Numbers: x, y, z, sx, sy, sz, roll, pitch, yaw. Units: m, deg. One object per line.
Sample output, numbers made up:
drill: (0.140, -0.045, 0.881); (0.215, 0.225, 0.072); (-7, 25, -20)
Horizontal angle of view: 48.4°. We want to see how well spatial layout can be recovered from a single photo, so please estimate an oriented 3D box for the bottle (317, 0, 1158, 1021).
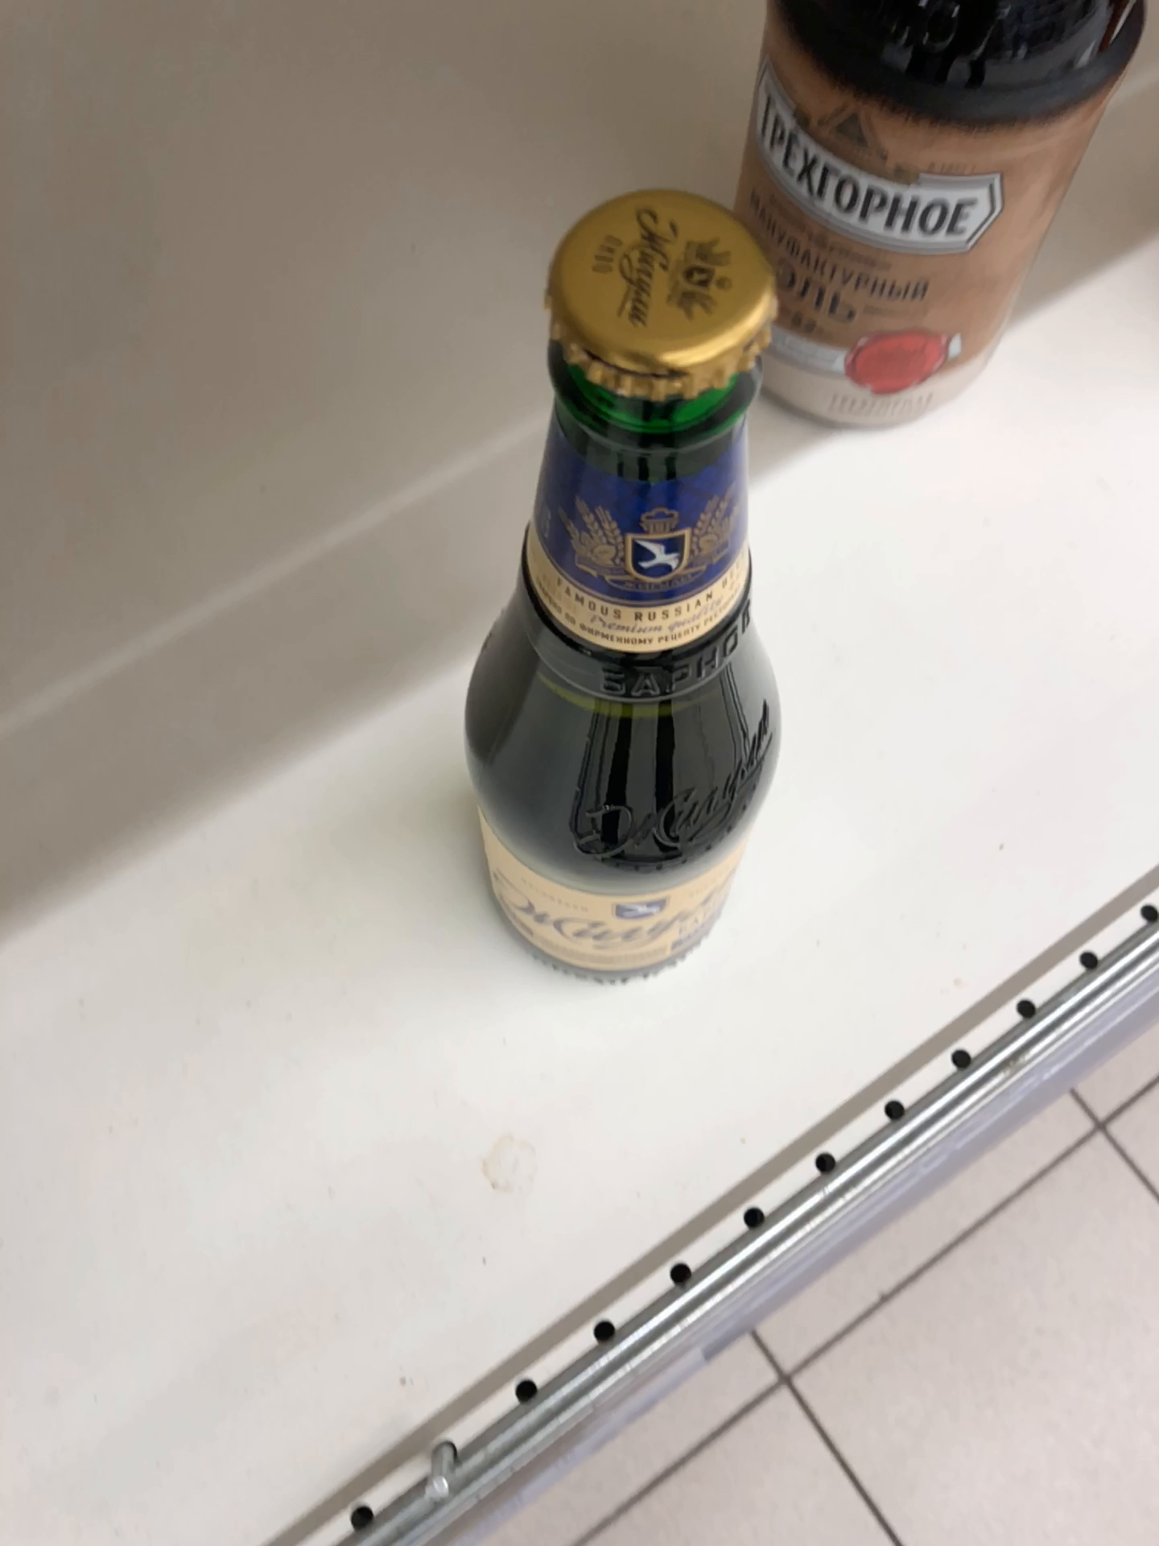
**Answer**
bottle: (0.017, -0.017, 0.273); (0.090, 0.249, 0.080); (-10, 70, -4)
